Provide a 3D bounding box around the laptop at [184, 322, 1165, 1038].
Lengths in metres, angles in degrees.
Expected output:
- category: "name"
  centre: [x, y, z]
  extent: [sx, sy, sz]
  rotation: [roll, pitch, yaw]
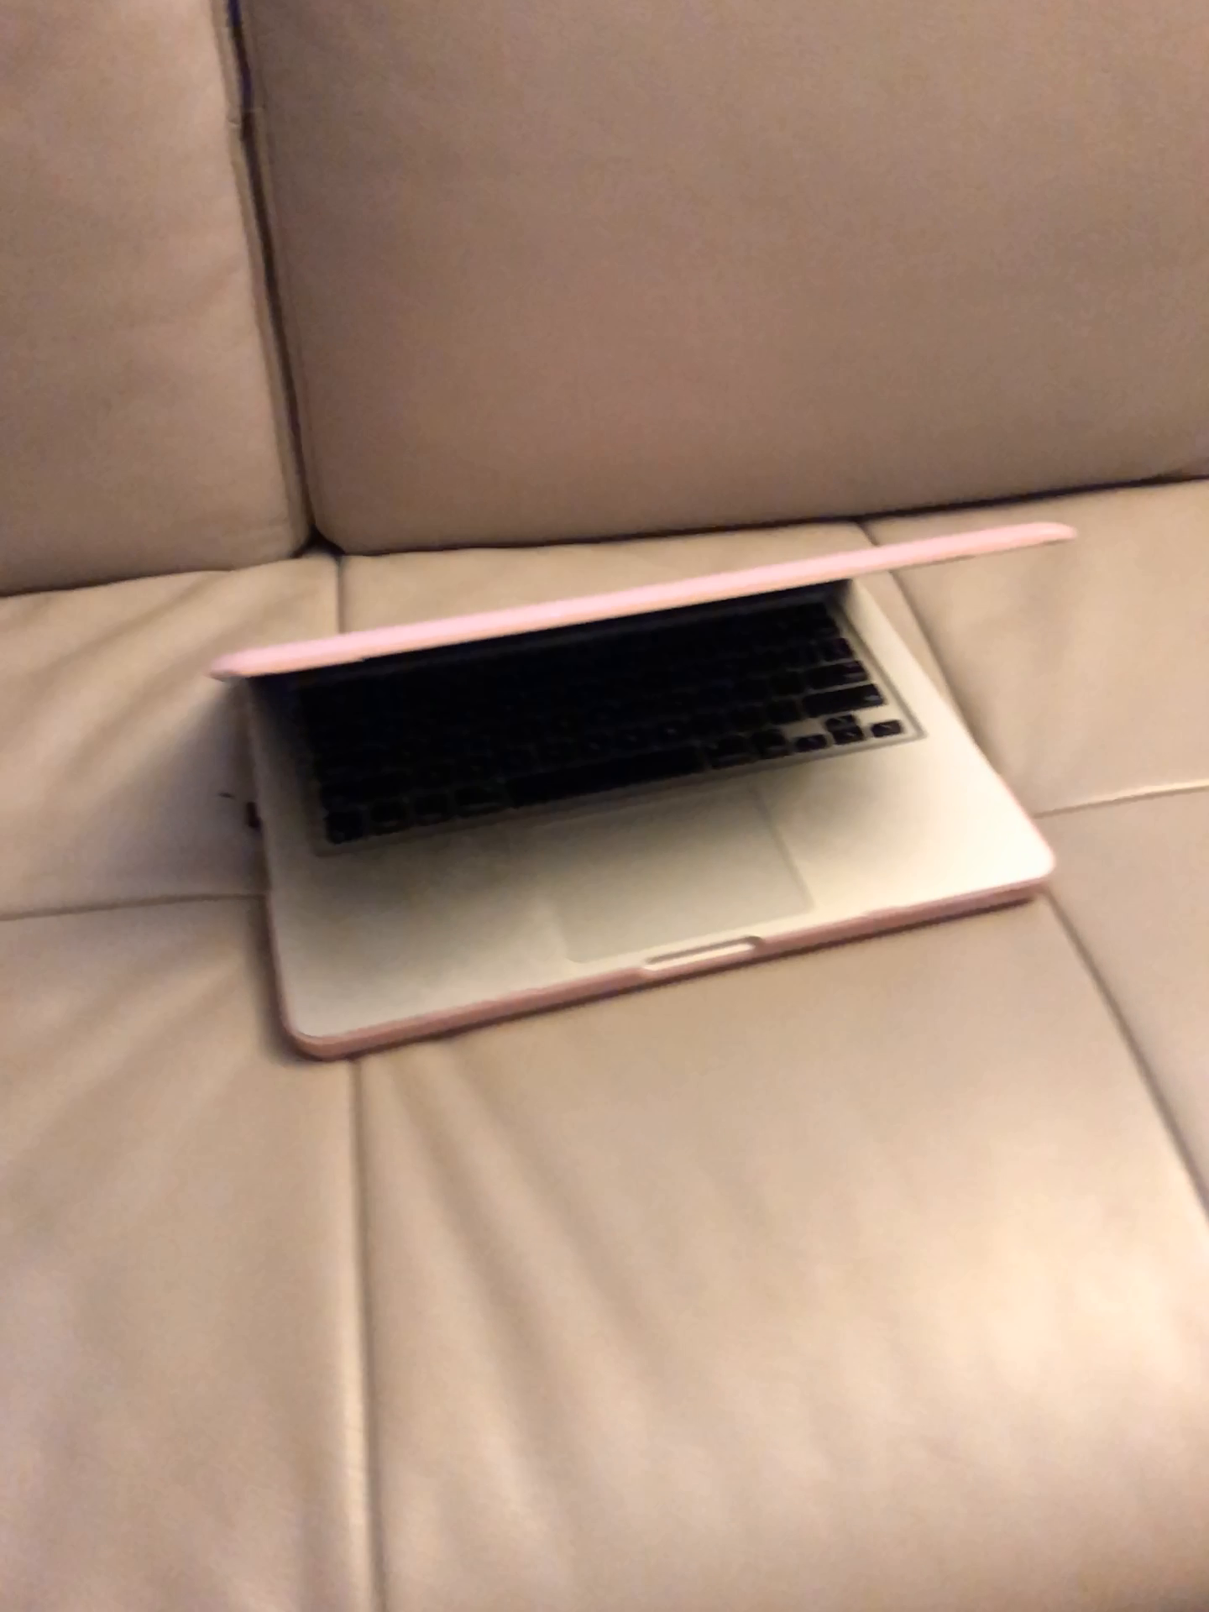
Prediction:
- category: "laptop"
  centre: [0.009, -0.065, 0.543]
  extent: [0.307, 0.145, 0.220]
  rotation: [-11, 48, -11]
